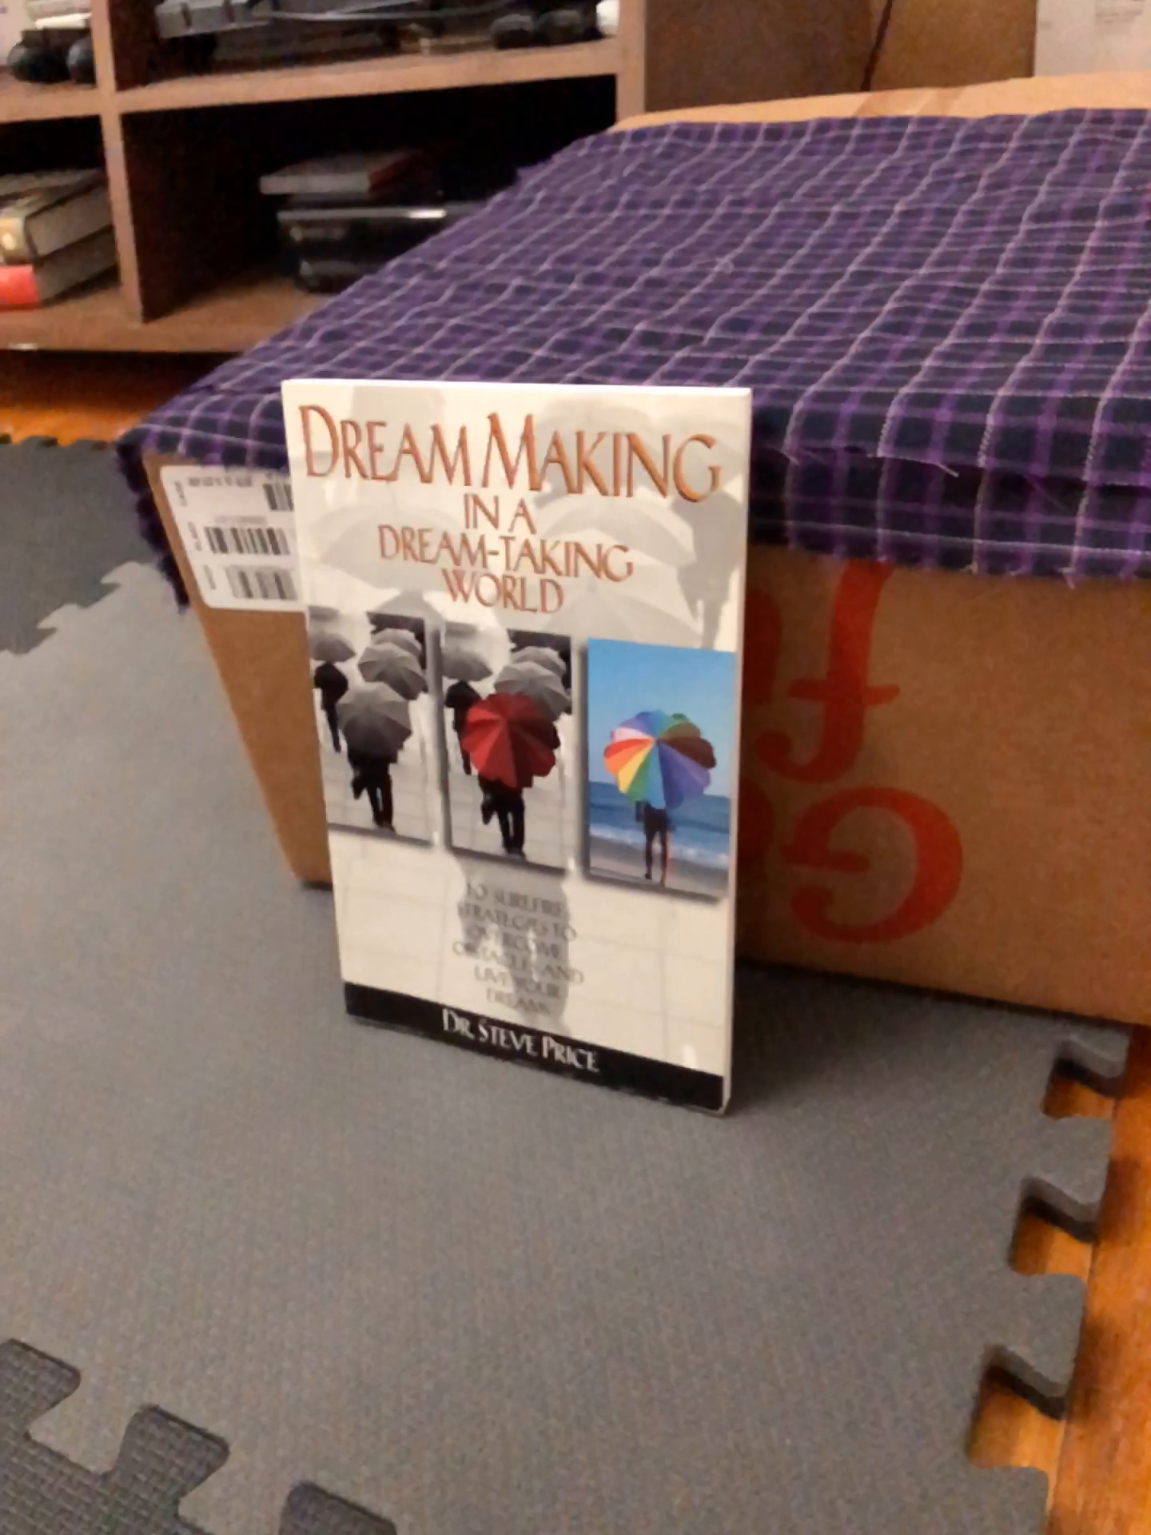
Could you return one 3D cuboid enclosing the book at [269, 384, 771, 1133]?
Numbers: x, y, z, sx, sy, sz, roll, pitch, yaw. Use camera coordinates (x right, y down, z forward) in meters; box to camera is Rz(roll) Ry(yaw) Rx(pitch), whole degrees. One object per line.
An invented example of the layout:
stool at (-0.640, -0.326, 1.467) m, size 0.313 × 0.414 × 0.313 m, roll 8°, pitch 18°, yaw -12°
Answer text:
book at (-0.016, -0.003, 0.396) m, size 0.150 × 0.219 × 0.020 m, roll 9°, pitch 24°, yaw 26°
